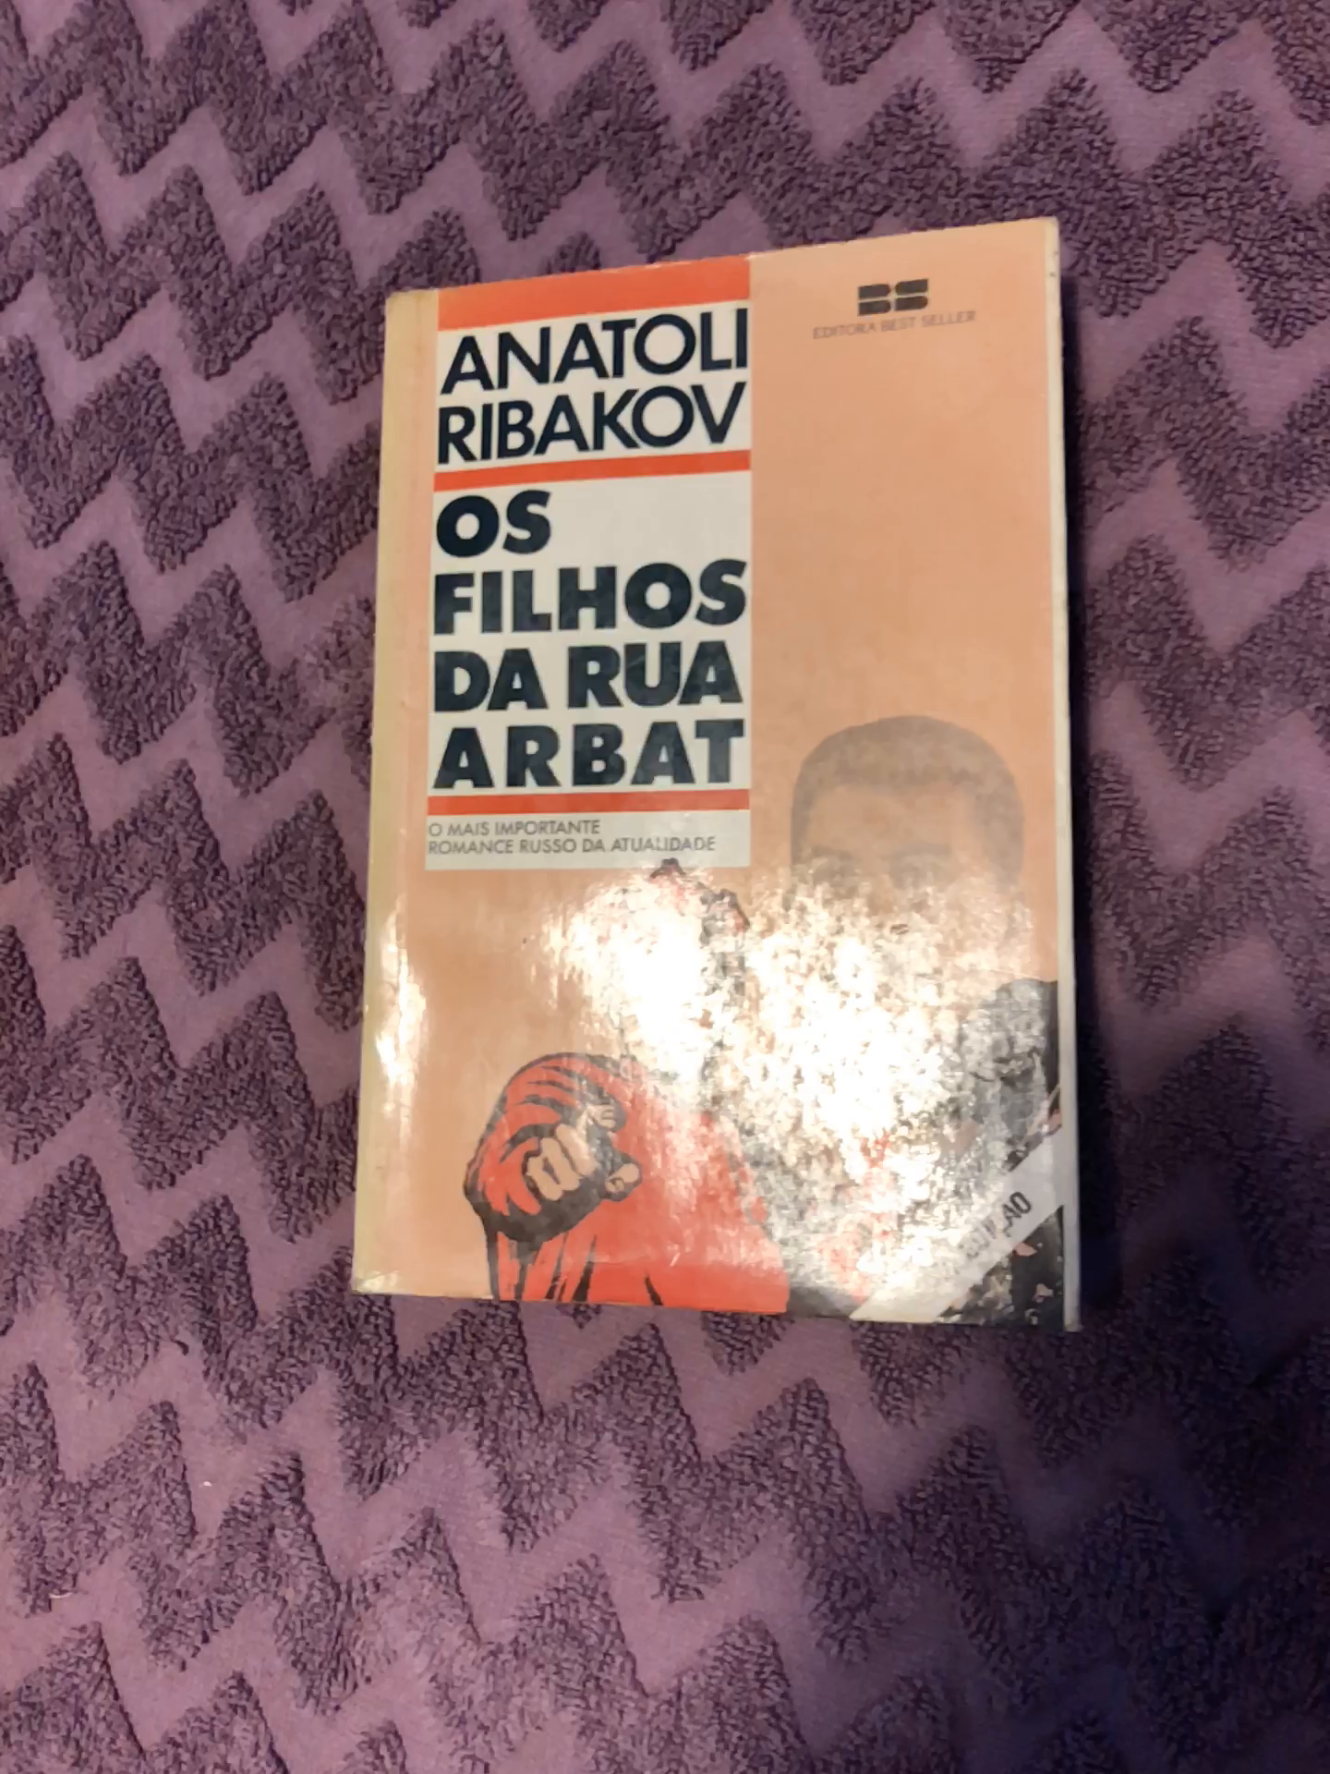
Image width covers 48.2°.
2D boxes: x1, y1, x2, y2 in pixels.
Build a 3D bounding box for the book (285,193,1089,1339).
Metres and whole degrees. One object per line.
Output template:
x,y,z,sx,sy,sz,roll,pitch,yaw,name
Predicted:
0.003,-0.019,0.279,0.140,0.040,0.190,-2,87,12,book
